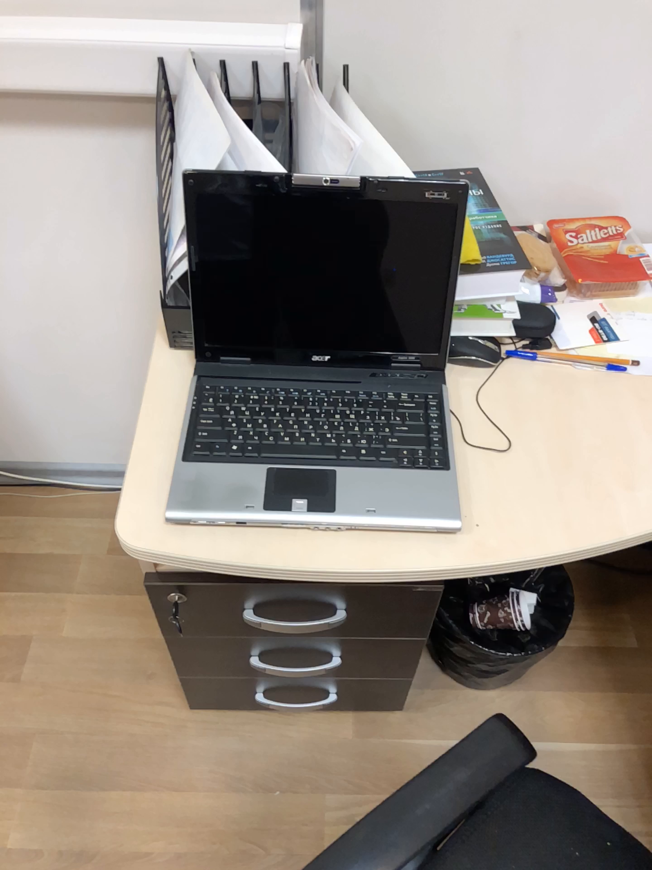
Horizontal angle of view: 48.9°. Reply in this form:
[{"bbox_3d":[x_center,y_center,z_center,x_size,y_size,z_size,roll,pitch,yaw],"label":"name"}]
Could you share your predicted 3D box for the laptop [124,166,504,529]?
[{"bbox_3d":[-0.008,-0.101,0.798,0.325,0.219,0.324,2,52,0],"label":"laptop"}]
